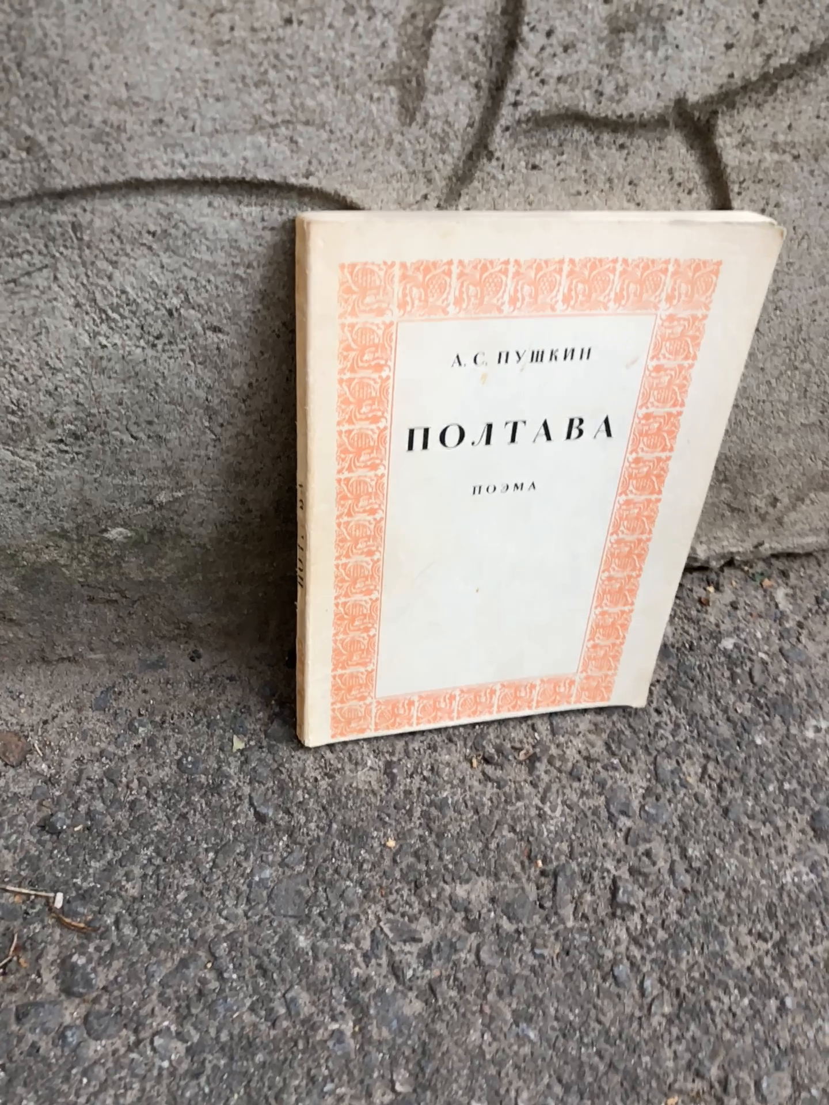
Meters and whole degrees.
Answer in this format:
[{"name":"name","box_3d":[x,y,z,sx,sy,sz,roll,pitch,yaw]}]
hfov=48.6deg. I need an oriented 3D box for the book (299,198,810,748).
[{"name":"book","box_3d":[0.036,-0.017,0.322,0.150,0.199,0.020,-4,36,-13]}]
